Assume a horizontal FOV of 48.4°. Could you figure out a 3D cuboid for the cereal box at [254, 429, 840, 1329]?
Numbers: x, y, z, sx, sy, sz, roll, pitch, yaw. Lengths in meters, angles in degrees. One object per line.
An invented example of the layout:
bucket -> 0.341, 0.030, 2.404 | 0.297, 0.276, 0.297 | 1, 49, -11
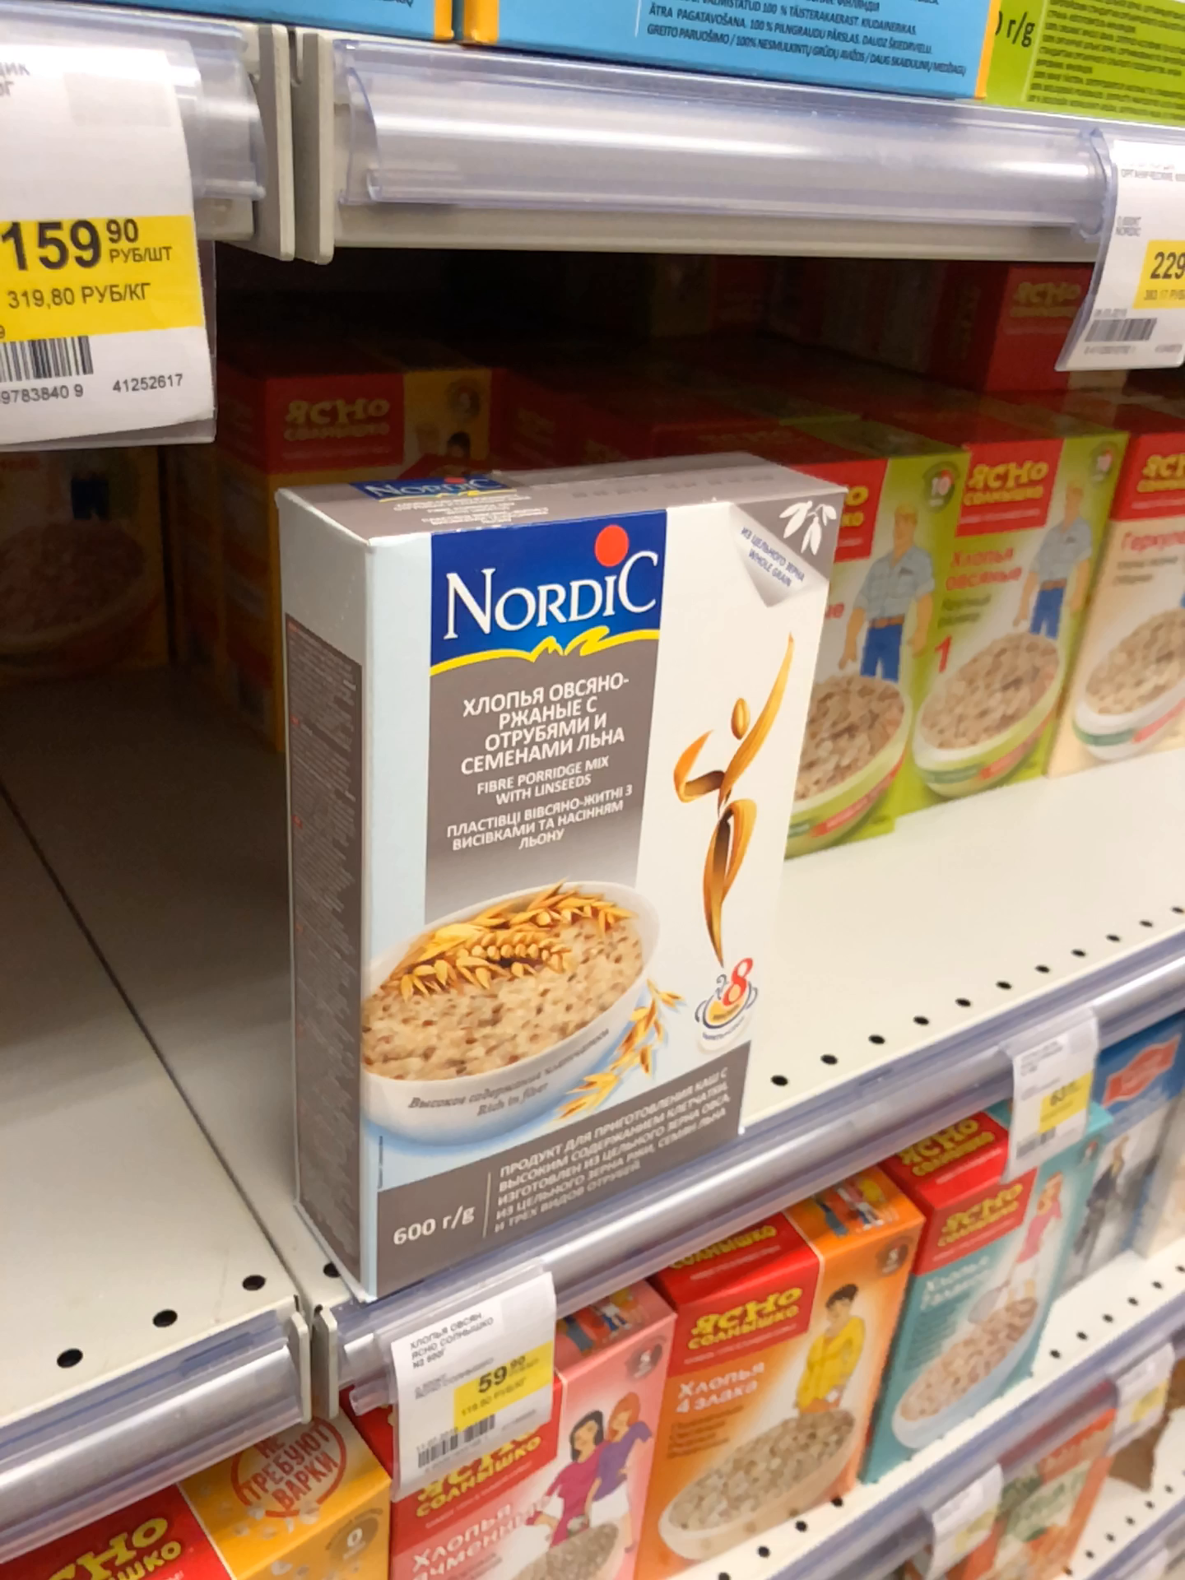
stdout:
cereal box -> -0.015, 0.023, 0.373 | 0.140, 0.229, 0.050 | -15, 32, -34
